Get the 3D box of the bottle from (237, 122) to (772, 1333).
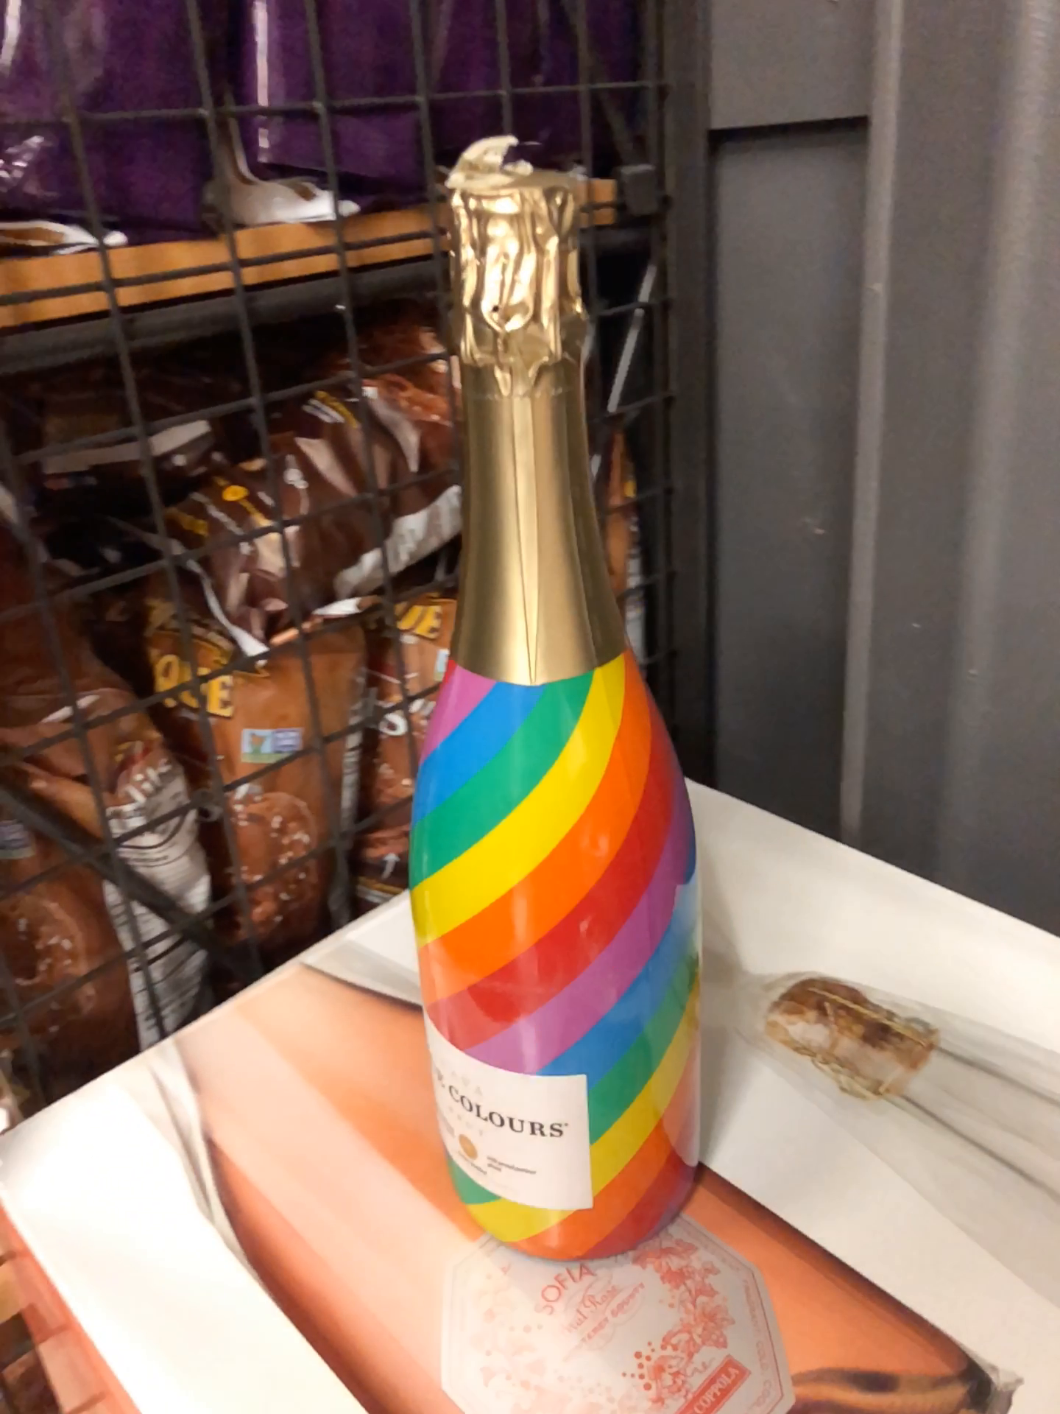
[{"bbox_3d":[0.005,0.015,0.337,0.088,0.319,0.088,-4,25,2],"label":"bottle"}]
